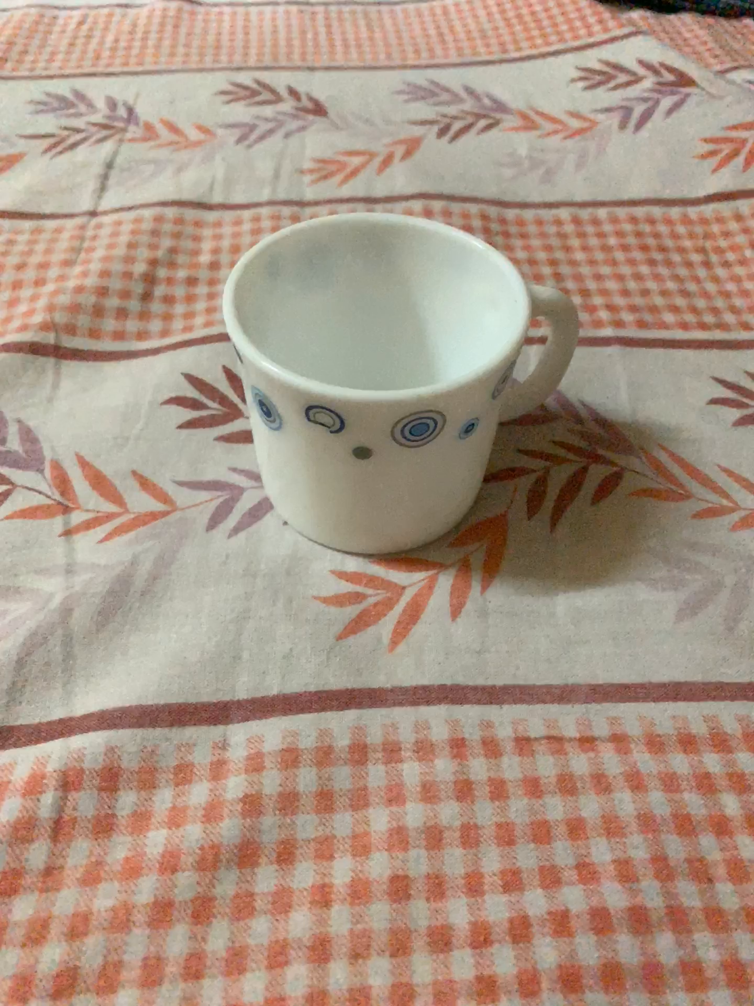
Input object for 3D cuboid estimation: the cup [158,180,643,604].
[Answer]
[{"bbox_3d":[0.001,-0.031,0.216,0.100,0.070,0.070,-12,51,-11],"label":"cup"}]
